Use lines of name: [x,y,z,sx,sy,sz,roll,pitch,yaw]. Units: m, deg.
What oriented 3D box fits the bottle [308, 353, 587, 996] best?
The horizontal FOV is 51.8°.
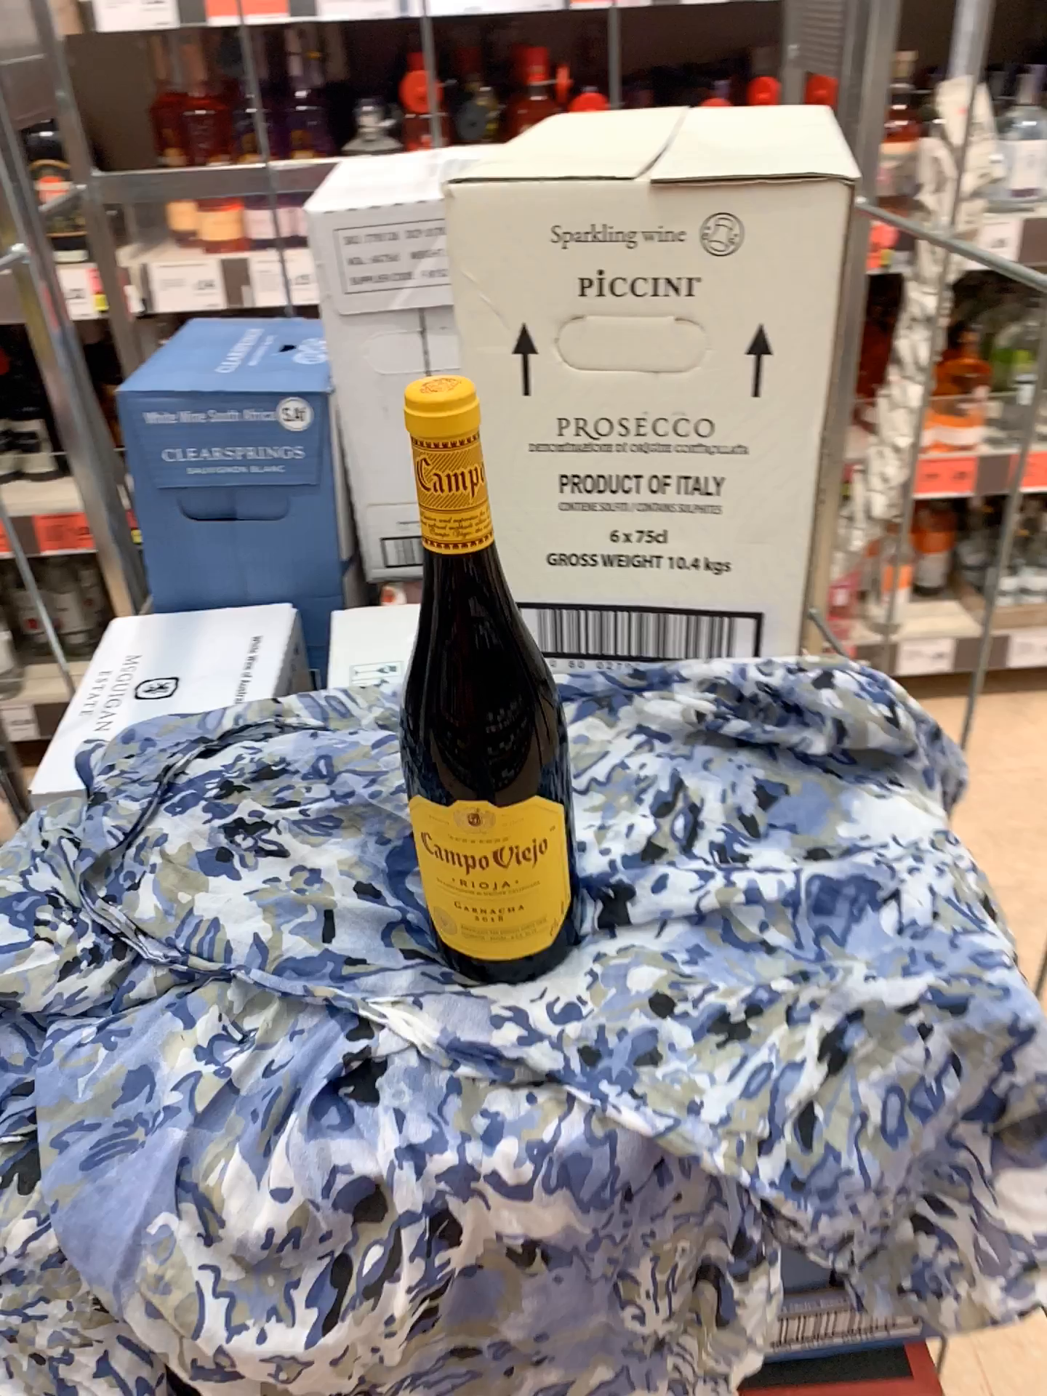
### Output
bottle: [-0.020,0.000,0.470,0.090,0.270,0.091,-2,32,1]
